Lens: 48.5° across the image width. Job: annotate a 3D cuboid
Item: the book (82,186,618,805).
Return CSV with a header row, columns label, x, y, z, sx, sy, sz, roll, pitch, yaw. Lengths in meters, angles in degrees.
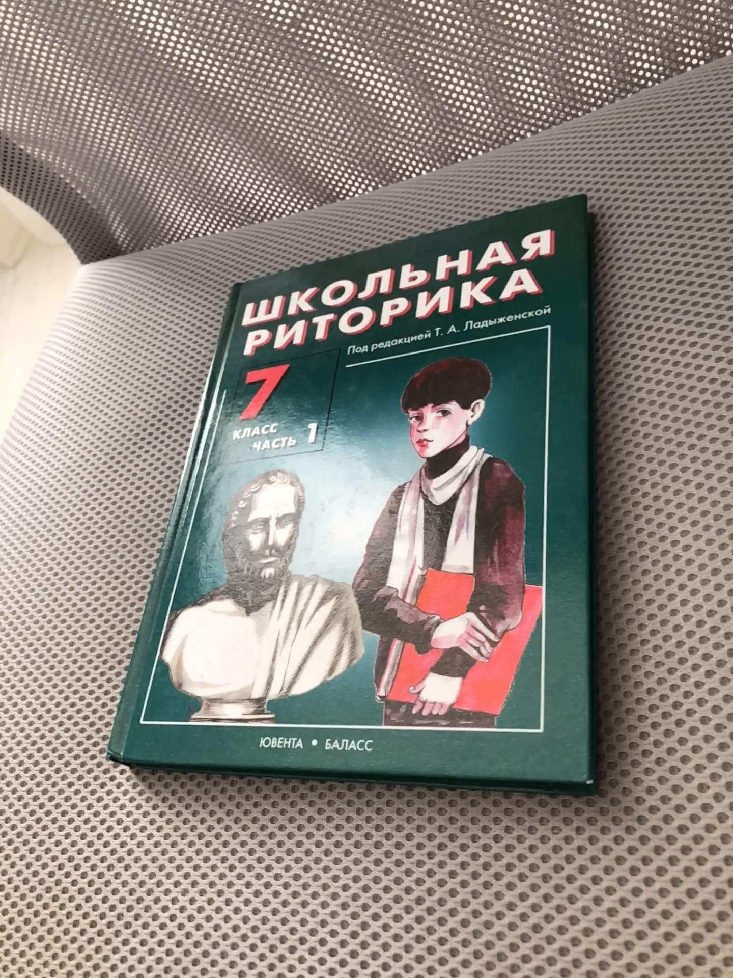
label,x,y,z,sx,sy,sz,roll,pitch,yaw
book,-0.001,-0.004,0.296,0.167,0.030,0.211,-7,58,25
